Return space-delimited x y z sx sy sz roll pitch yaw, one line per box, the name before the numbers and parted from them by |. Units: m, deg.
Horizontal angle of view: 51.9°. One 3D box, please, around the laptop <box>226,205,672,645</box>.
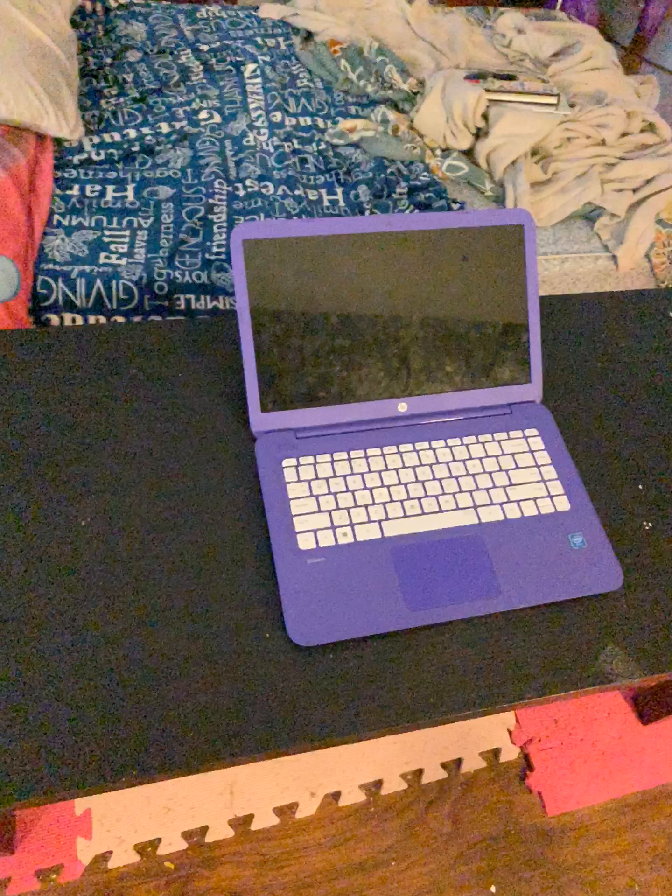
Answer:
laptop | 0.088 -0.048 0.688 0.340 0.132 0.398 -7 59 -12
